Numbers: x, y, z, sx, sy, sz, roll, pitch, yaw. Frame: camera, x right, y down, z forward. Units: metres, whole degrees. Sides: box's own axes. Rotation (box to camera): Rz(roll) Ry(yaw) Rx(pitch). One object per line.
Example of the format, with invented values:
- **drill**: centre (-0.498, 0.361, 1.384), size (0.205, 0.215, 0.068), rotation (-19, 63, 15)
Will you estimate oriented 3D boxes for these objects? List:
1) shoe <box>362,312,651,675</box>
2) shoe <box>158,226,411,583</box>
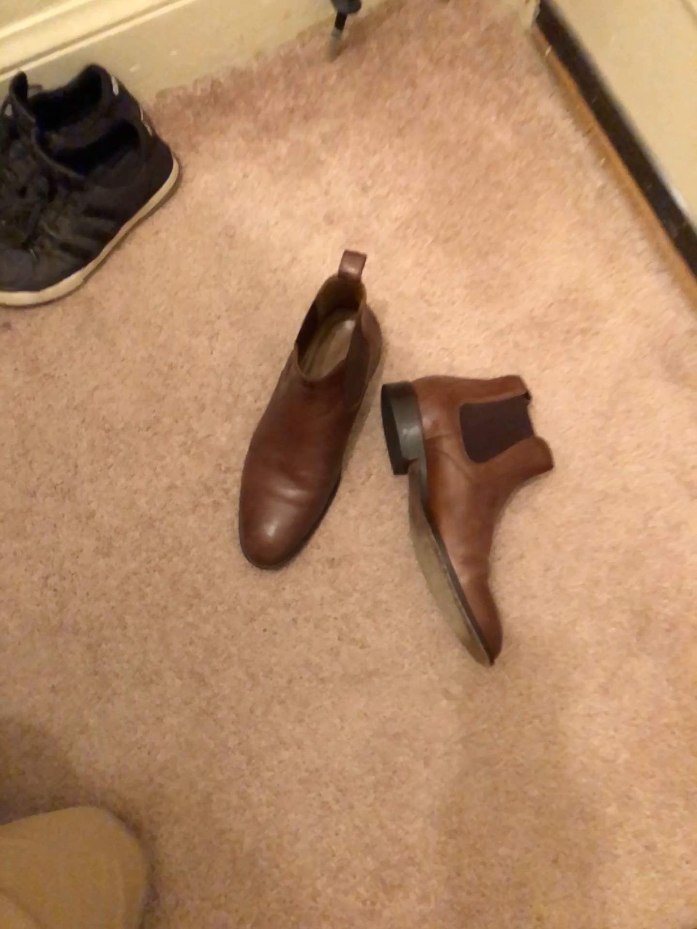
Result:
- **shoe**: centre (0.140, 0.030, 0.751), size (0.169, 0.119, 0.296), rotation (-18, 78, -2)
- **shoe**: centre (-0.048, -0.048, 0.746), size (0.109, 0.159, 0.296), rotation (23, 80, 8)
